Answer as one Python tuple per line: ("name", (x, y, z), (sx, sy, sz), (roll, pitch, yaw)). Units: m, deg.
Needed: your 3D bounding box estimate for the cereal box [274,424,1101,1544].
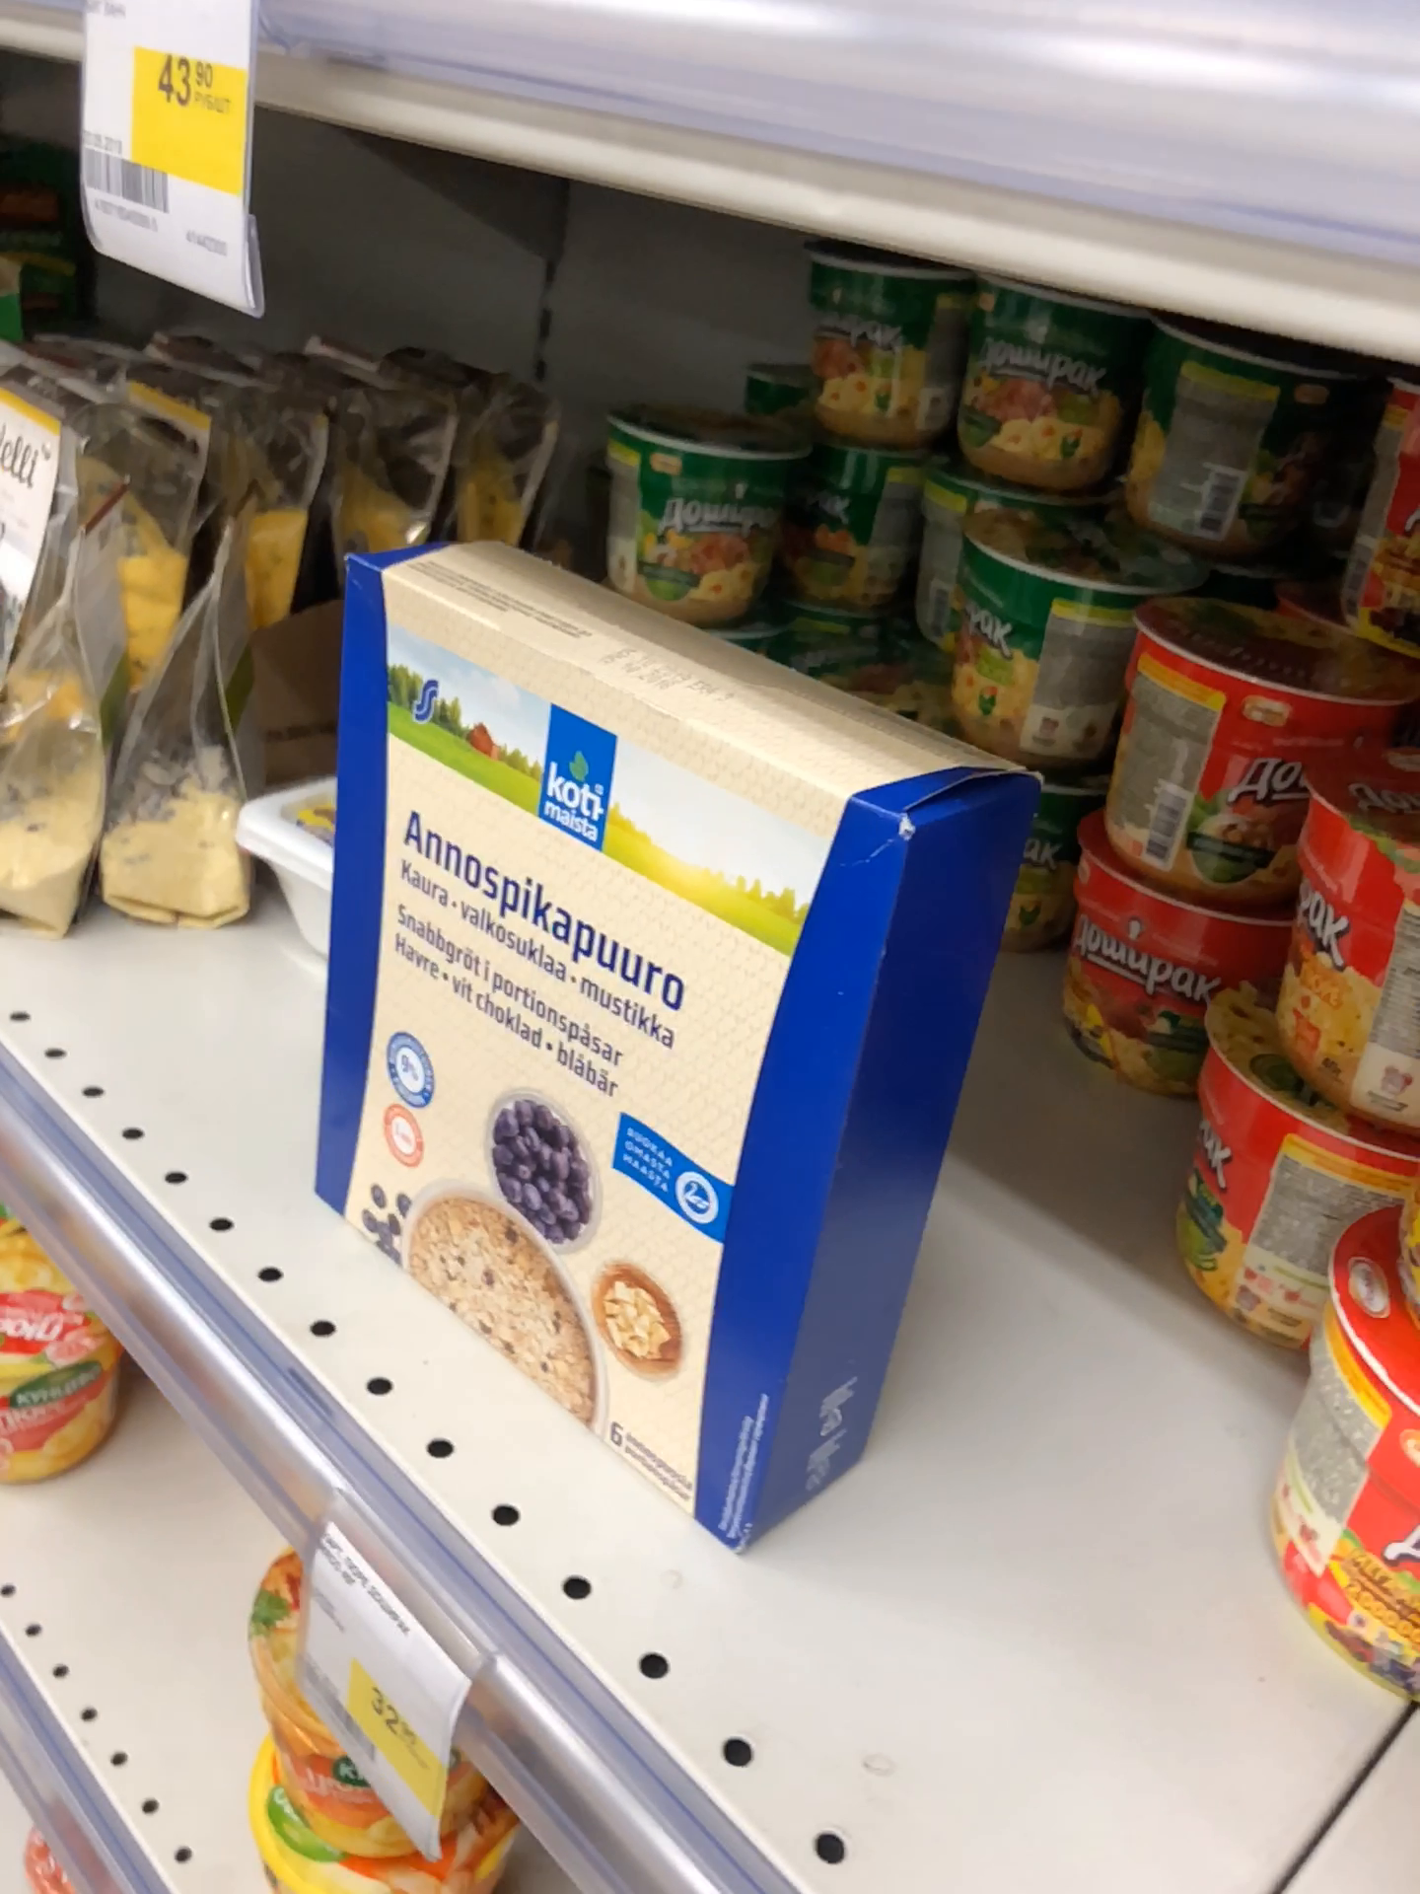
("cereal box", (-0.024, -0.001, 0.339), (0.170, 0.179, 0.050), (30, 34, 34))
